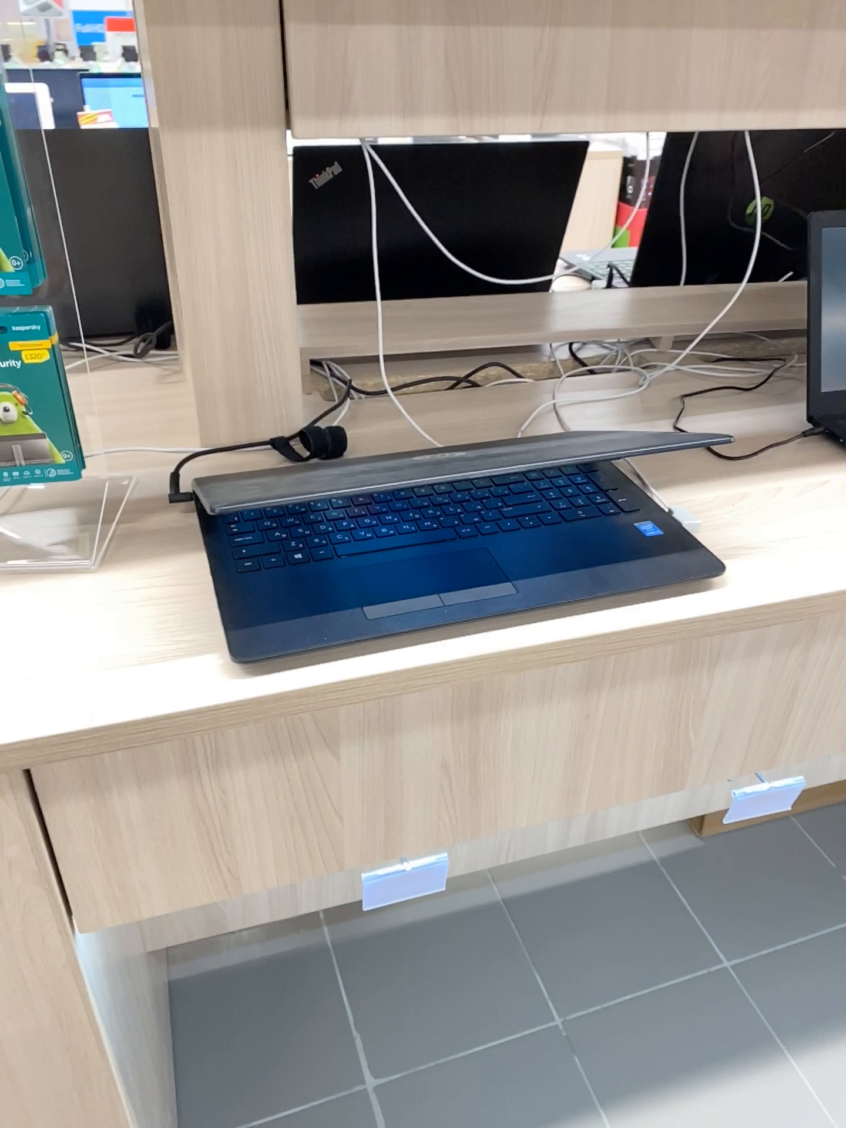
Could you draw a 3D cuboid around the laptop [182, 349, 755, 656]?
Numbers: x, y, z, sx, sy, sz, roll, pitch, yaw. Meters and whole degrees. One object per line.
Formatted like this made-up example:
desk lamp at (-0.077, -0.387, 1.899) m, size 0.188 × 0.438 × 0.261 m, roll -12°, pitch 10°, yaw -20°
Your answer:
laptop at (0.018, -0.072, 0.684) m, size 0.372 × 0.093 × 0.252 m, roll -9°, pitch 34°, yaw -16°
